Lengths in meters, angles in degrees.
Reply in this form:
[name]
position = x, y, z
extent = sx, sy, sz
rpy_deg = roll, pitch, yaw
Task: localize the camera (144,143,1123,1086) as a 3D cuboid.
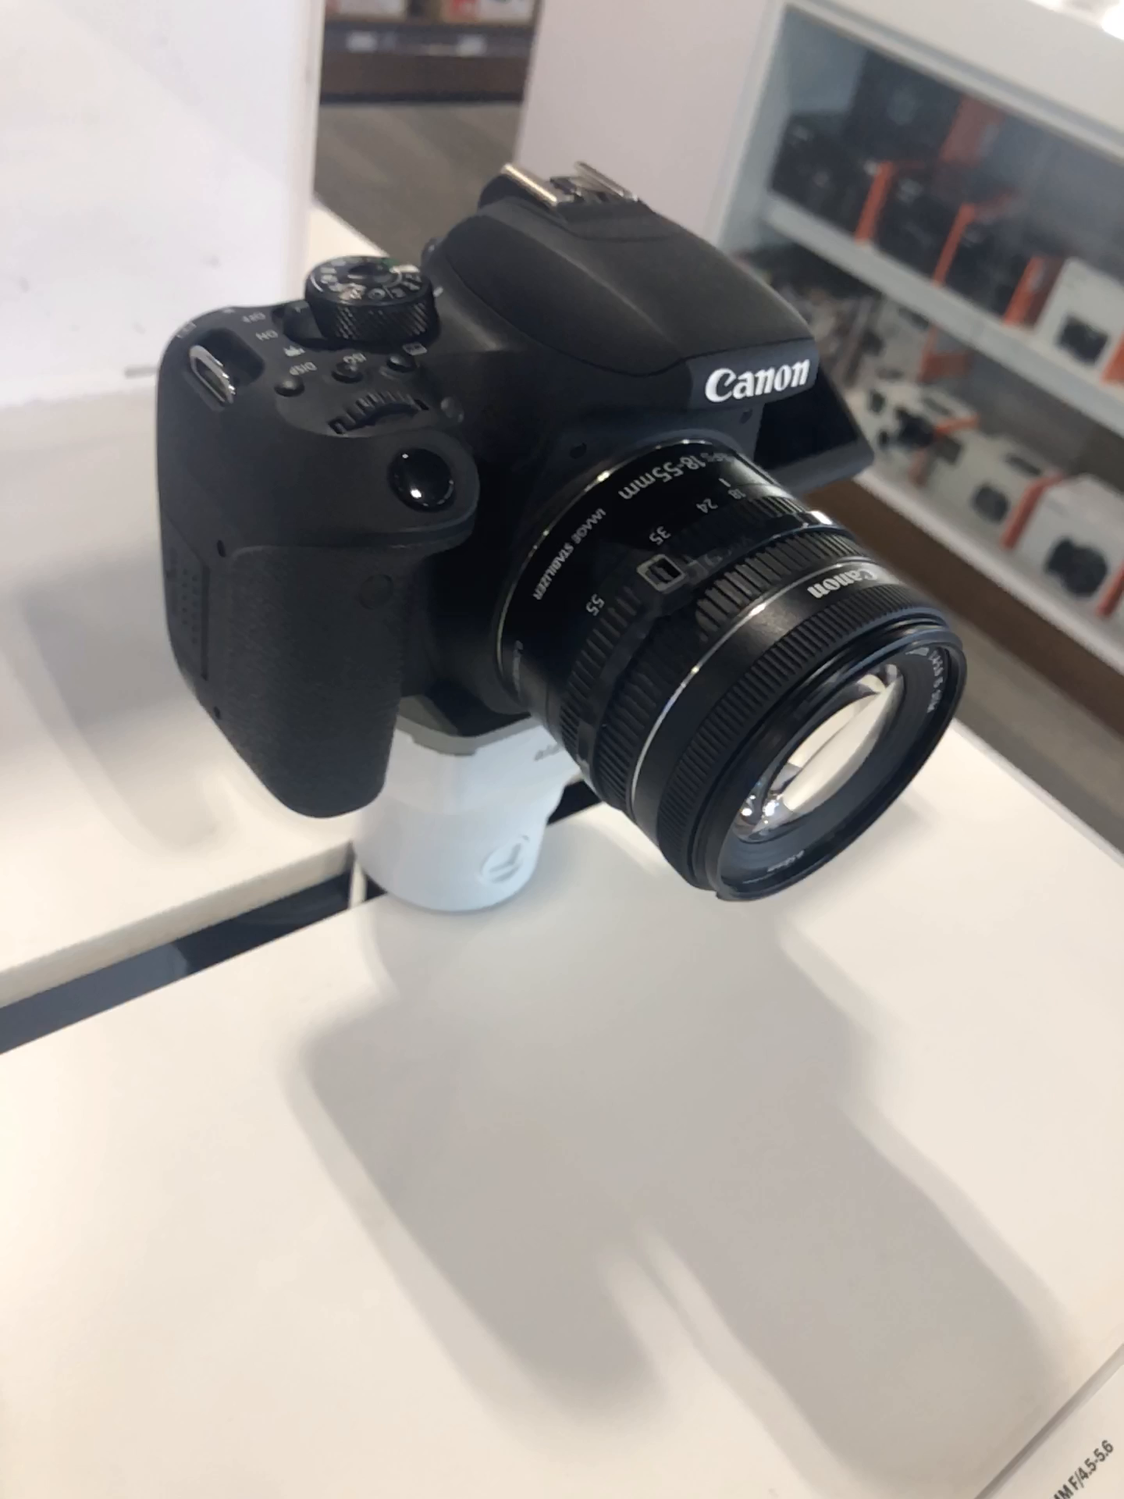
[camera]
position = 0.040, -0.049, 0.256
extent = 0.210, 0.099, 0.110
rpy_deg = -22, 53, -35
